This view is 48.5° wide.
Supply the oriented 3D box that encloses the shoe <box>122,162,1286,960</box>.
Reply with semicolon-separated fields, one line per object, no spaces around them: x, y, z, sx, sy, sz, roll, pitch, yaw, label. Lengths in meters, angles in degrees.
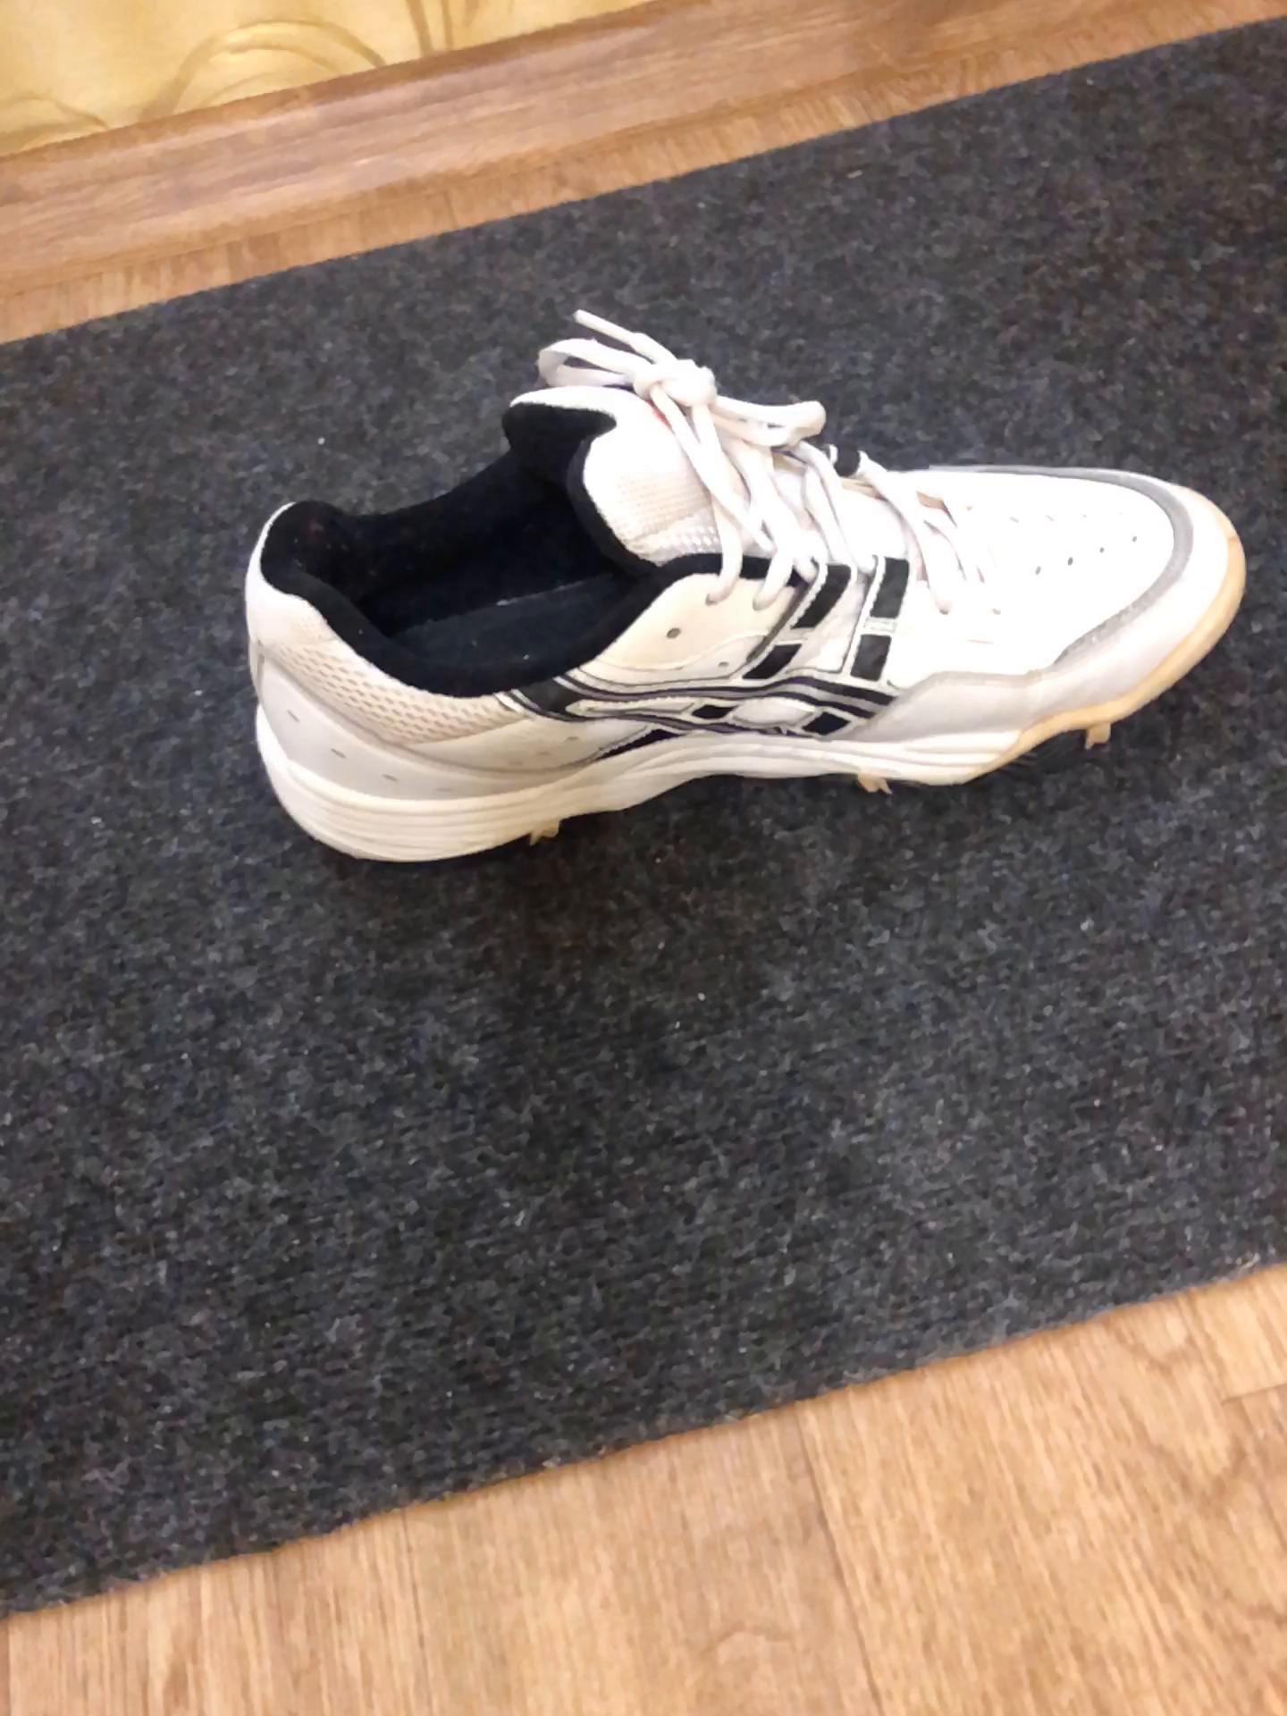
0.030;-0.071;0.372;0.289;0.110;0.100;-12;57;1;shoe
